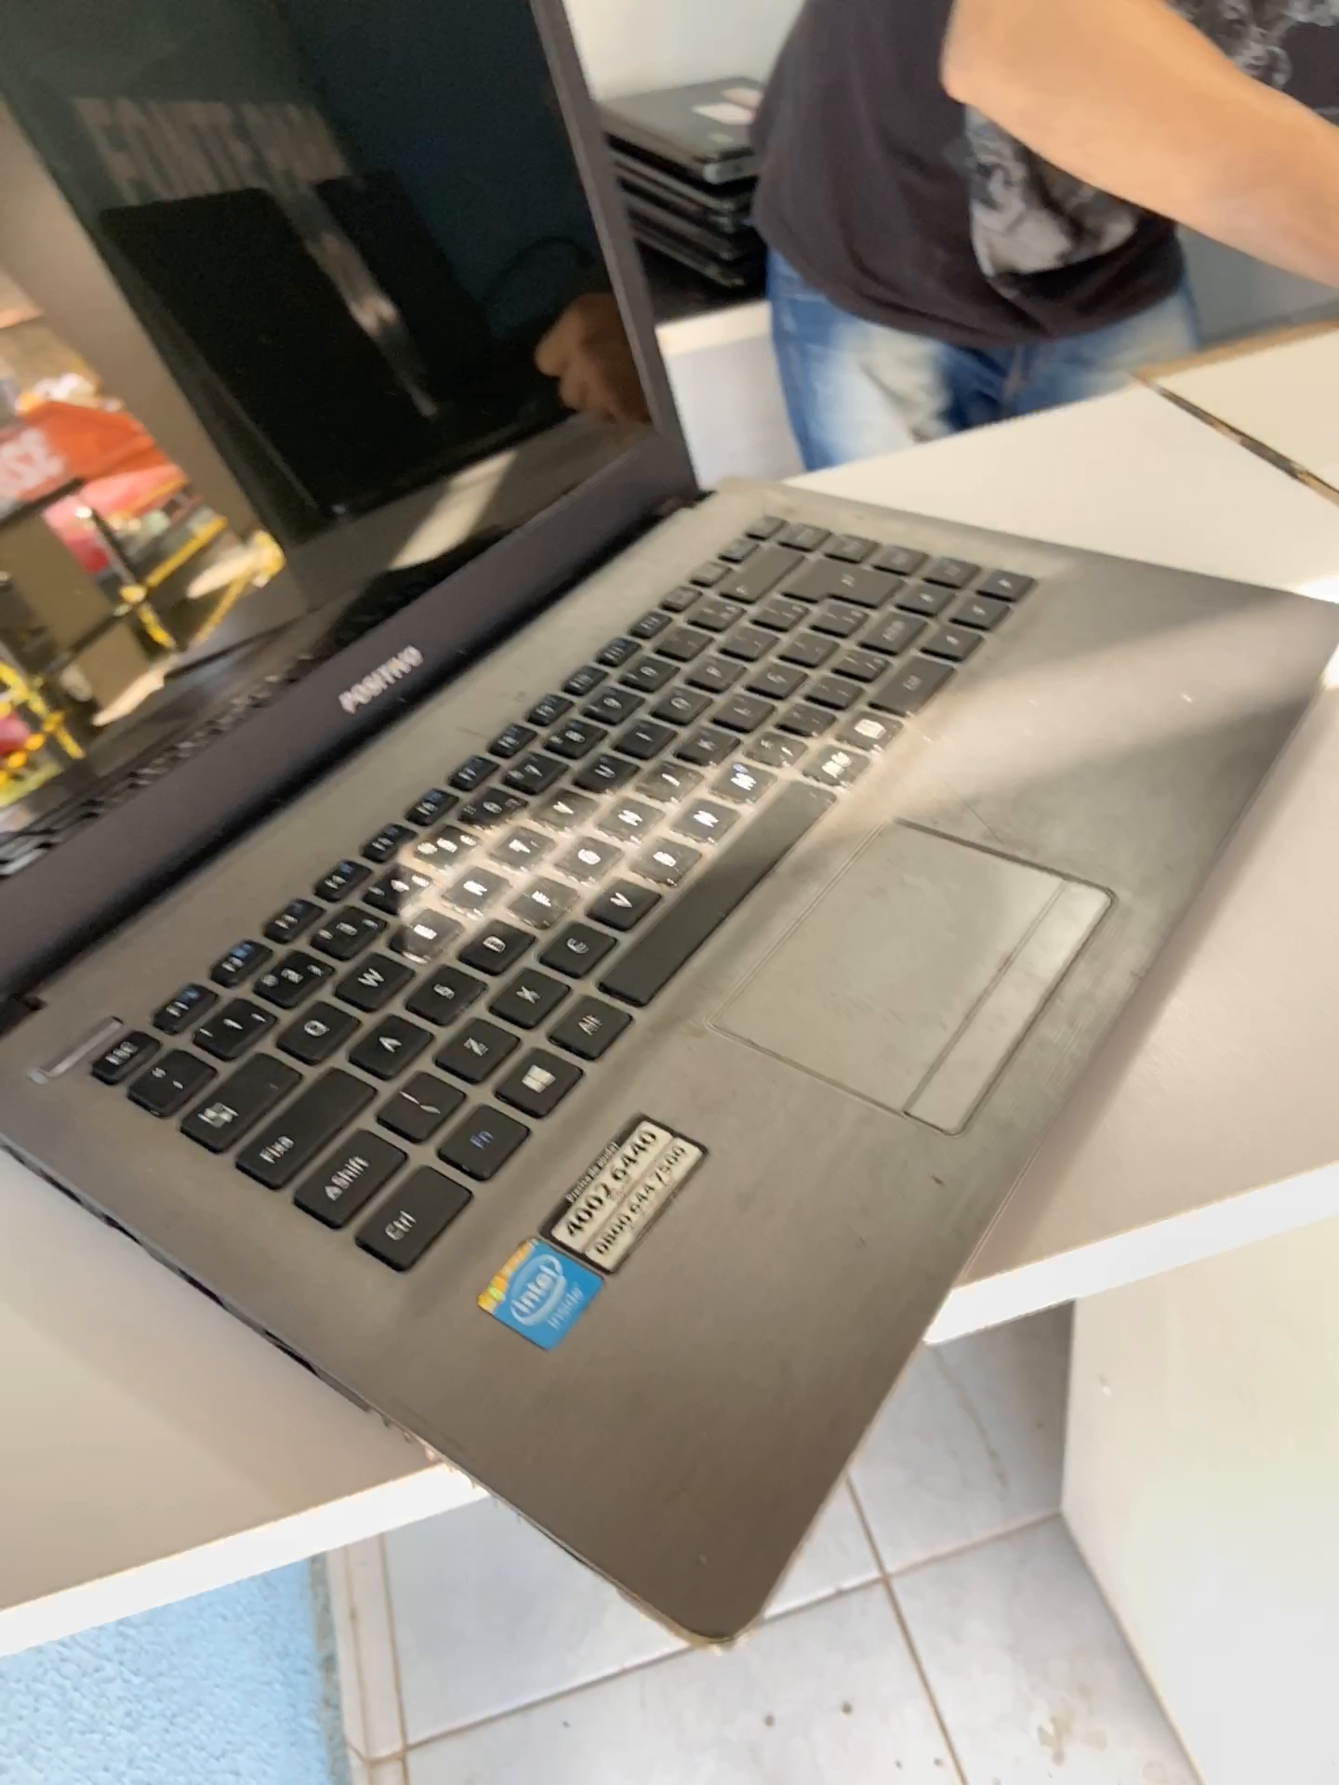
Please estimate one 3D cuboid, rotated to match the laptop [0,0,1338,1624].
[{"bbox_3d":[-0.026,-0.110,0.313,0.283,0.211,0.335,21,49,31],"label":"laptop"}]
